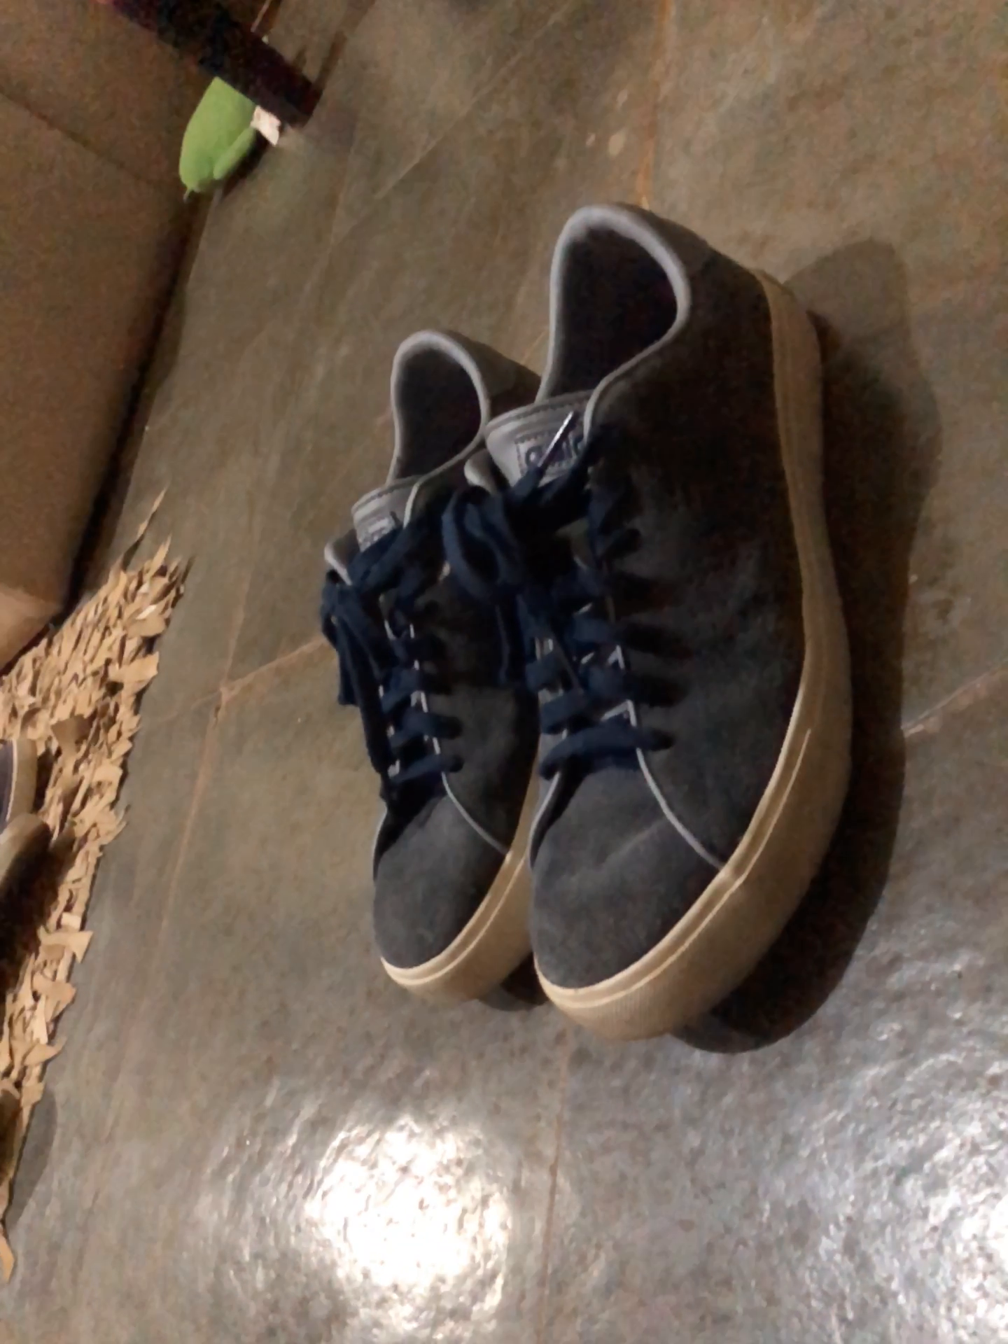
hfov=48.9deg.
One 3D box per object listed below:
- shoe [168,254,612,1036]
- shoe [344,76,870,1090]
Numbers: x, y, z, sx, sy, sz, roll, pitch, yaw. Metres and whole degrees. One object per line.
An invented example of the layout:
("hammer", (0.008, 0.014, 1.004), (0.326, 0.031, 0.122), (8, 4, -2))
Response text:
("shoe", (-0.037, -0.008, 0.425), (0.110, 0.080, 0.271), (-22, 53, 48))
("shoe", (0.040, -0.027, 0.347), (0.110, 0.080, 0.281), (-19, 55, 50))
